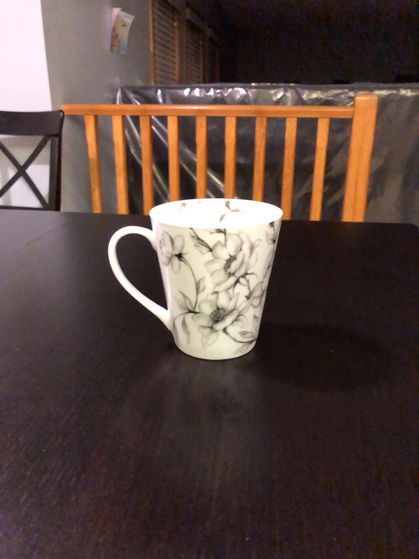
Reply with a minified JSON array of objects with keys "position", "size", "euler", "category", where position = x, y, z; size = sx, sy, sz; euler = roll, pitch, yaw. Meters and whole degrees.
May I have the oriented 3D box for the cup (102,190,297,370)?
[{"position":[-0.014,-0.008,0.345],"size":[0.120,0.100,0.100],"euler":[-3,19,-10],"category":"cup"}]
